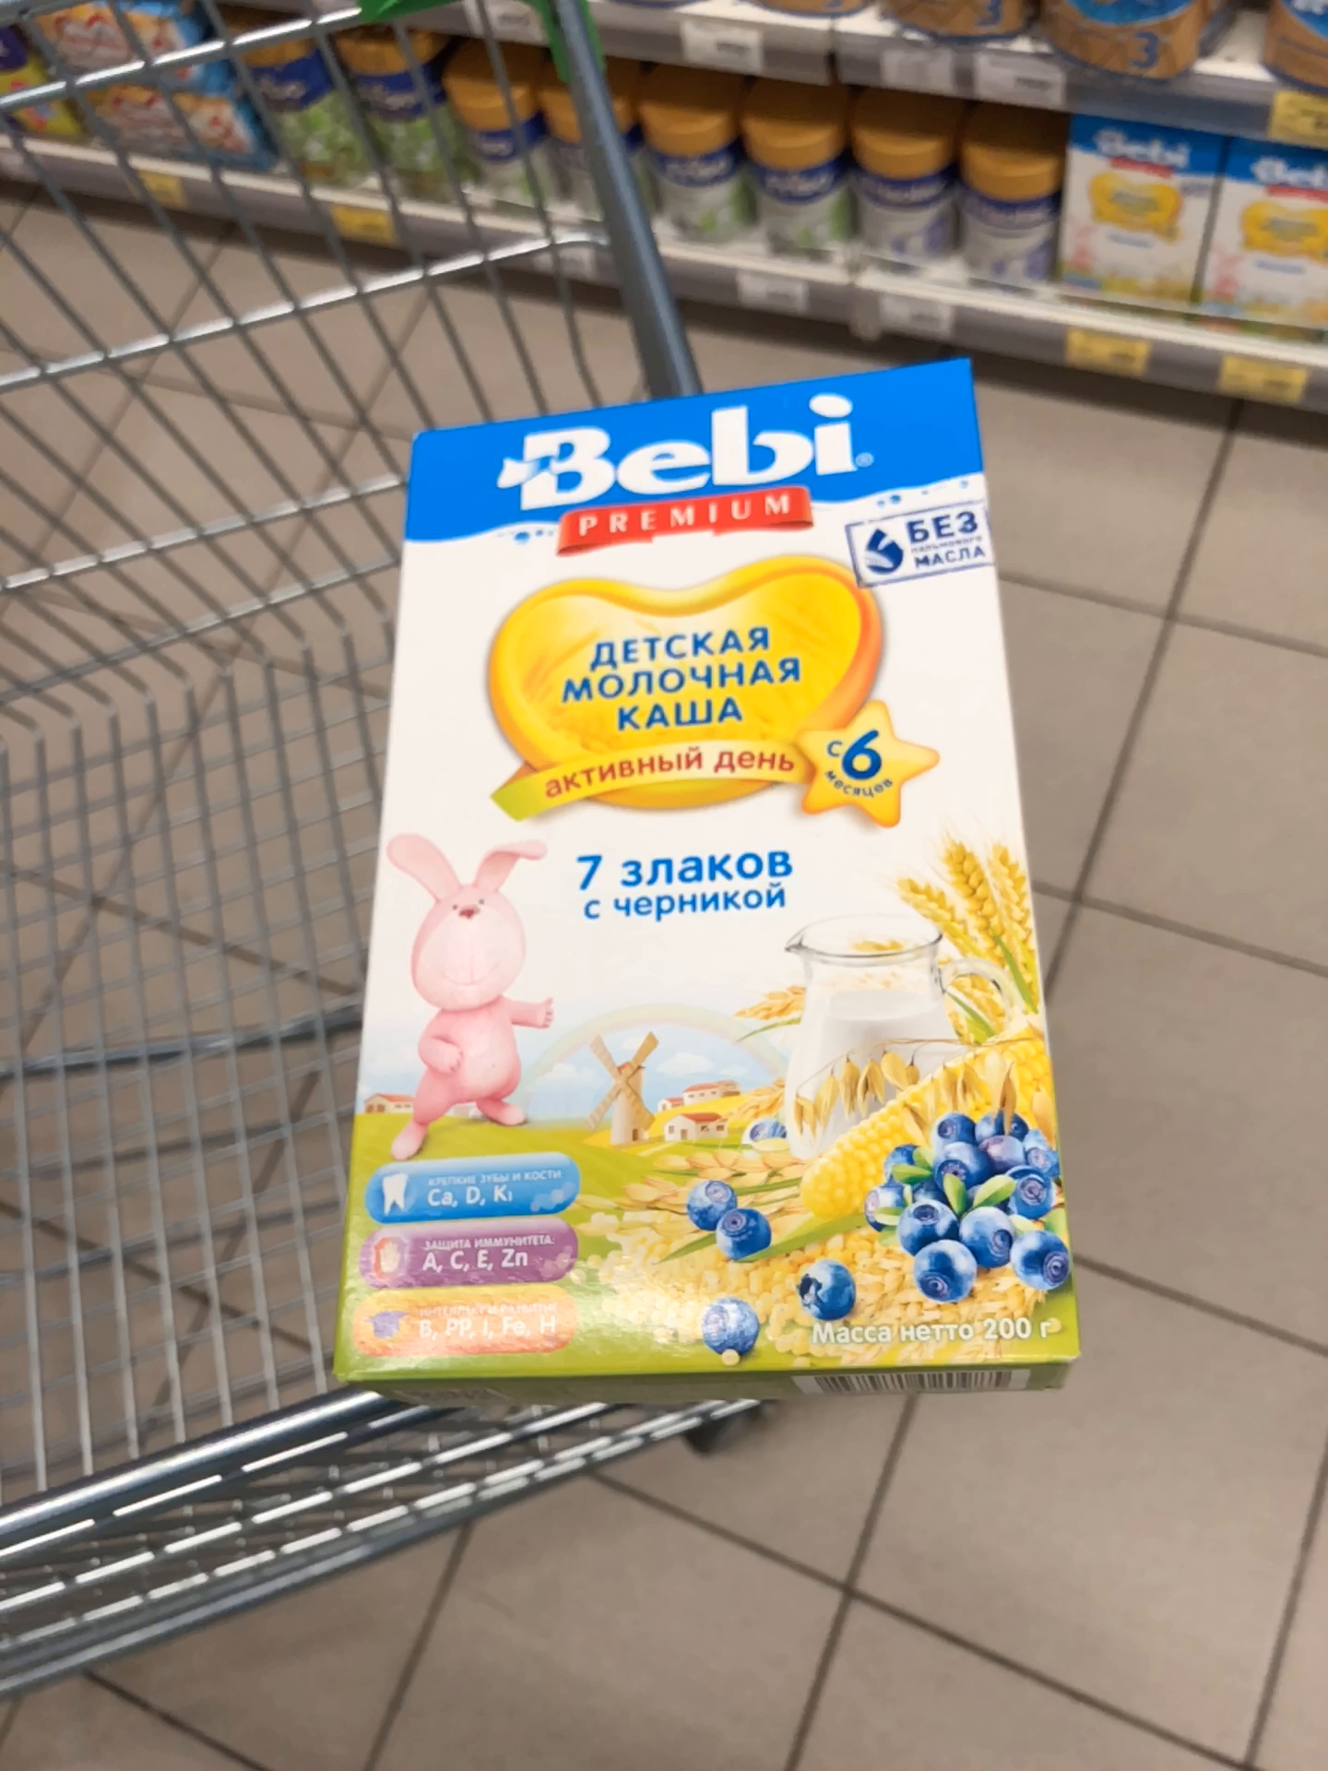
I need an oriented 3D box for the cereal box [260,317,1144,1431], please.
[{"bbox_3d":[0.006,-0.006,0.297,0.140,0.050,0.210,-5,66,9],"label":"cereal box"}]
